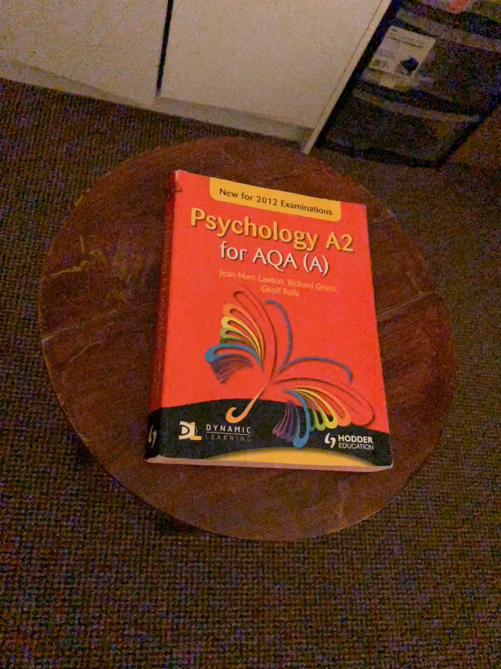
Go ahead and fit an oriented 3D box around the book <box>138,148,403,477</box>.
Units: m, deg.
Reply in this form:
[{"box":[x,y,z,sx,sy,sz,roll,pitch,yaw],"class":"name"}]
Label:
[{"box":[0.019,-0.025,0.473,0.210,0.040,0.291,7,65,-14],"class":"book"}]
